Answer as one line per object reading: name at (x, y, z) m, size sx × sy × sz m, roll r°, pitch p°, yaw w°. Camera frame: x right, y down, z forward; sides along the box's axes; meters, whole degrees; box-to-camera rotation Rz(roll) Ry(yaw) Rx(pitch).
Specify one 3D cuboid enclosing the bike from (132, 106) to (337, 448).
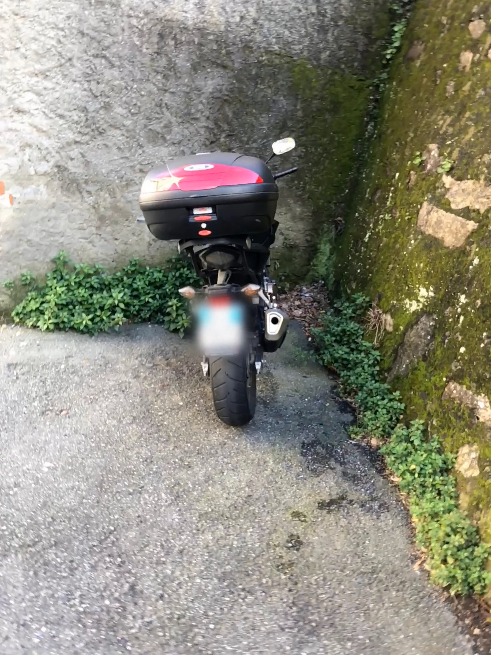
bike at (-0.175, -0.479, 3.105) m, size 0.711 × 1.198 × 1.792 m, roll 6°, pitch 24°, yaw -9°
